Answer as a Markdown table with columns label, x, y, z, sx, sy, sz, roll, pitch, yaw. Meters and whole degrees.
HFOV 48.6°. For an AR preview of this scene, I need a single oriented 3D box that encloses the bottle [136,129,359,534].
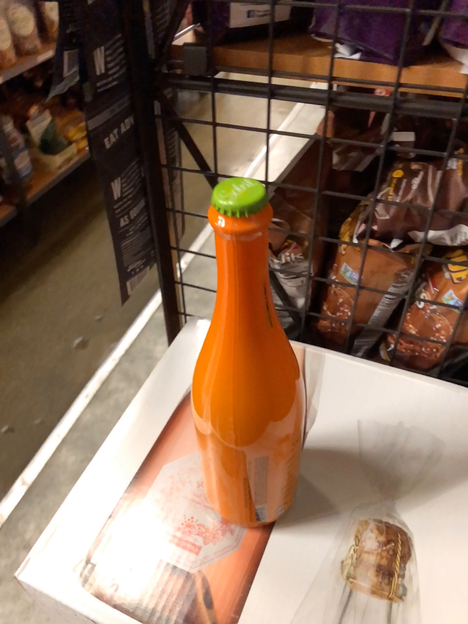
| label | x | y | z | sx | sy | sz | roll | pitch | yaw |
| --- | --- | --- | --- | --- | --- | --- | --- | --- | --- |
| bottle | 0.013 | 0.033 | 0.359 | 0.090 | 0.279 | 0.090 | 0 | 42 | 0 |
